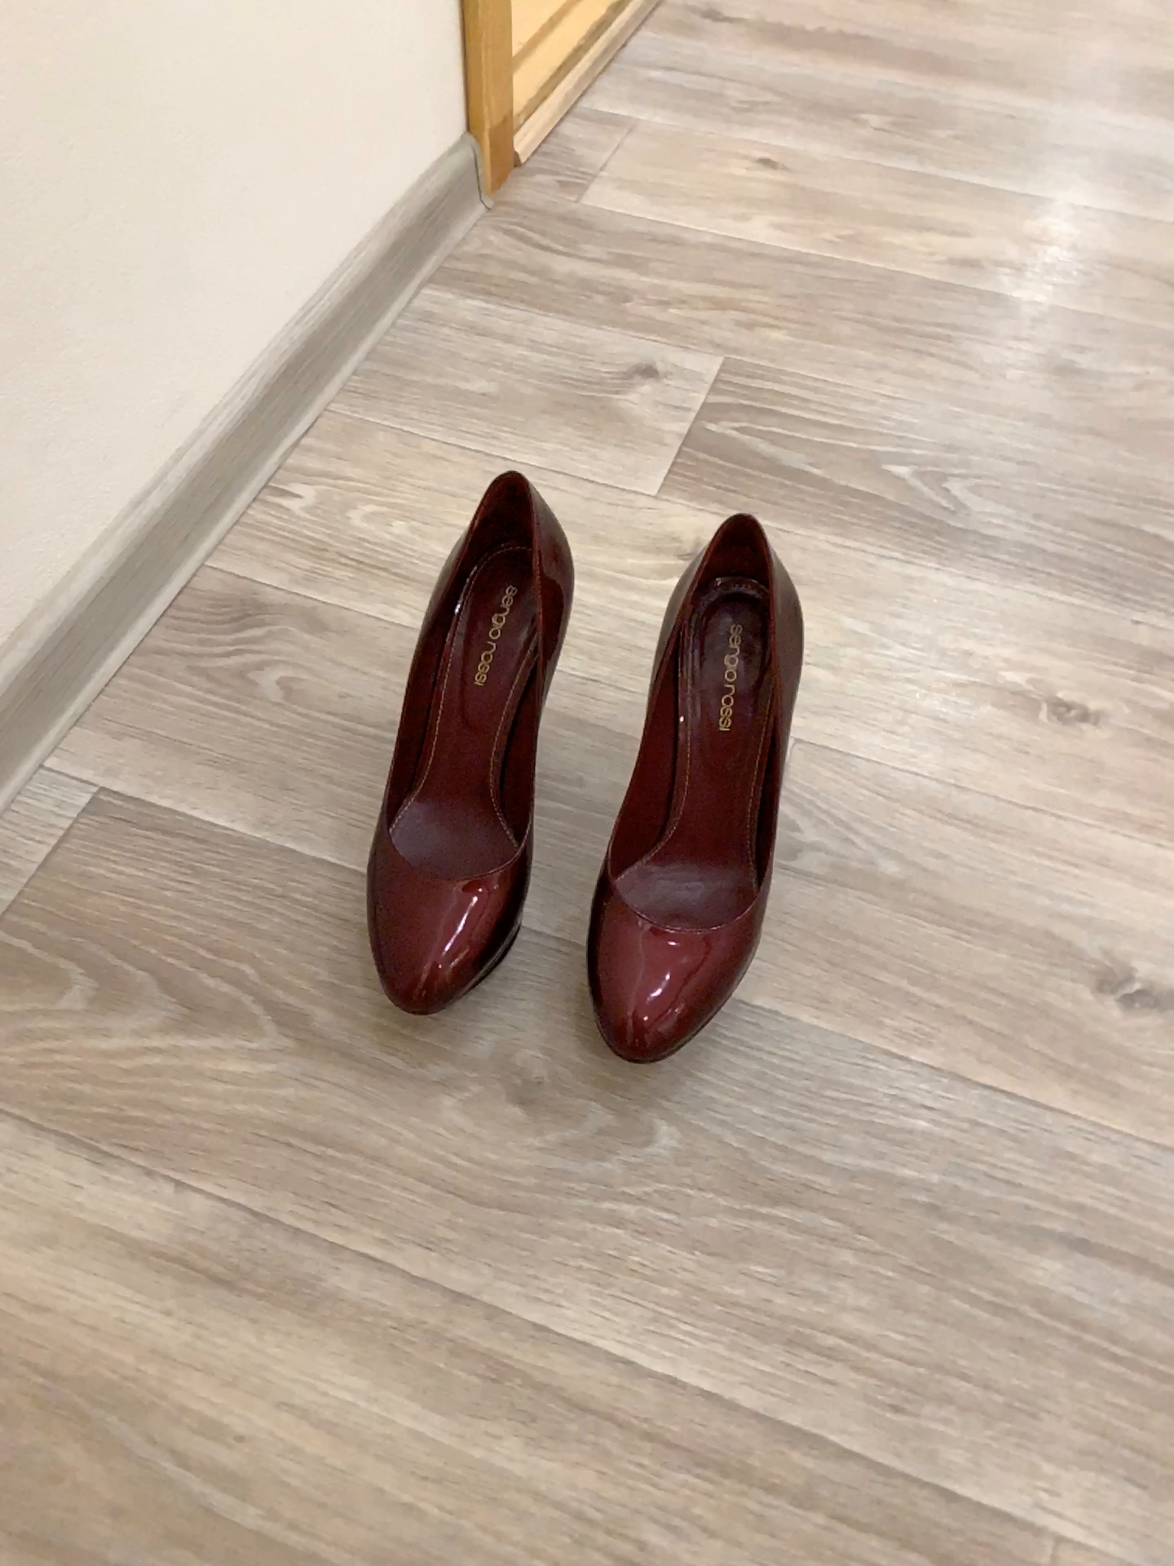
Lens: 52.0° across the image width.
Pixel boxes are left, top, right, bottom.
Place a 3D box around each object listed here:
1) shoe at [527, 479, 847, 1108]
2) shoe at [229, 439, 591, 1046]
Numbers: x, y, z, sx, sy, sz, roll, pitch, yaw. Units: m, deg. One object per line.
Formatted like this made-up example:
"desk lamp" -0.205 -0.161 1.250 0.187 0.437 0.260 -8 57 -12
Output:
"shoe" 0.043 0.002 0.516 0.086 0.149 0.211 12 53 6
"shoe" -0.063 -0.020 0.531 0.086 0.149 0.211 10 53 5
